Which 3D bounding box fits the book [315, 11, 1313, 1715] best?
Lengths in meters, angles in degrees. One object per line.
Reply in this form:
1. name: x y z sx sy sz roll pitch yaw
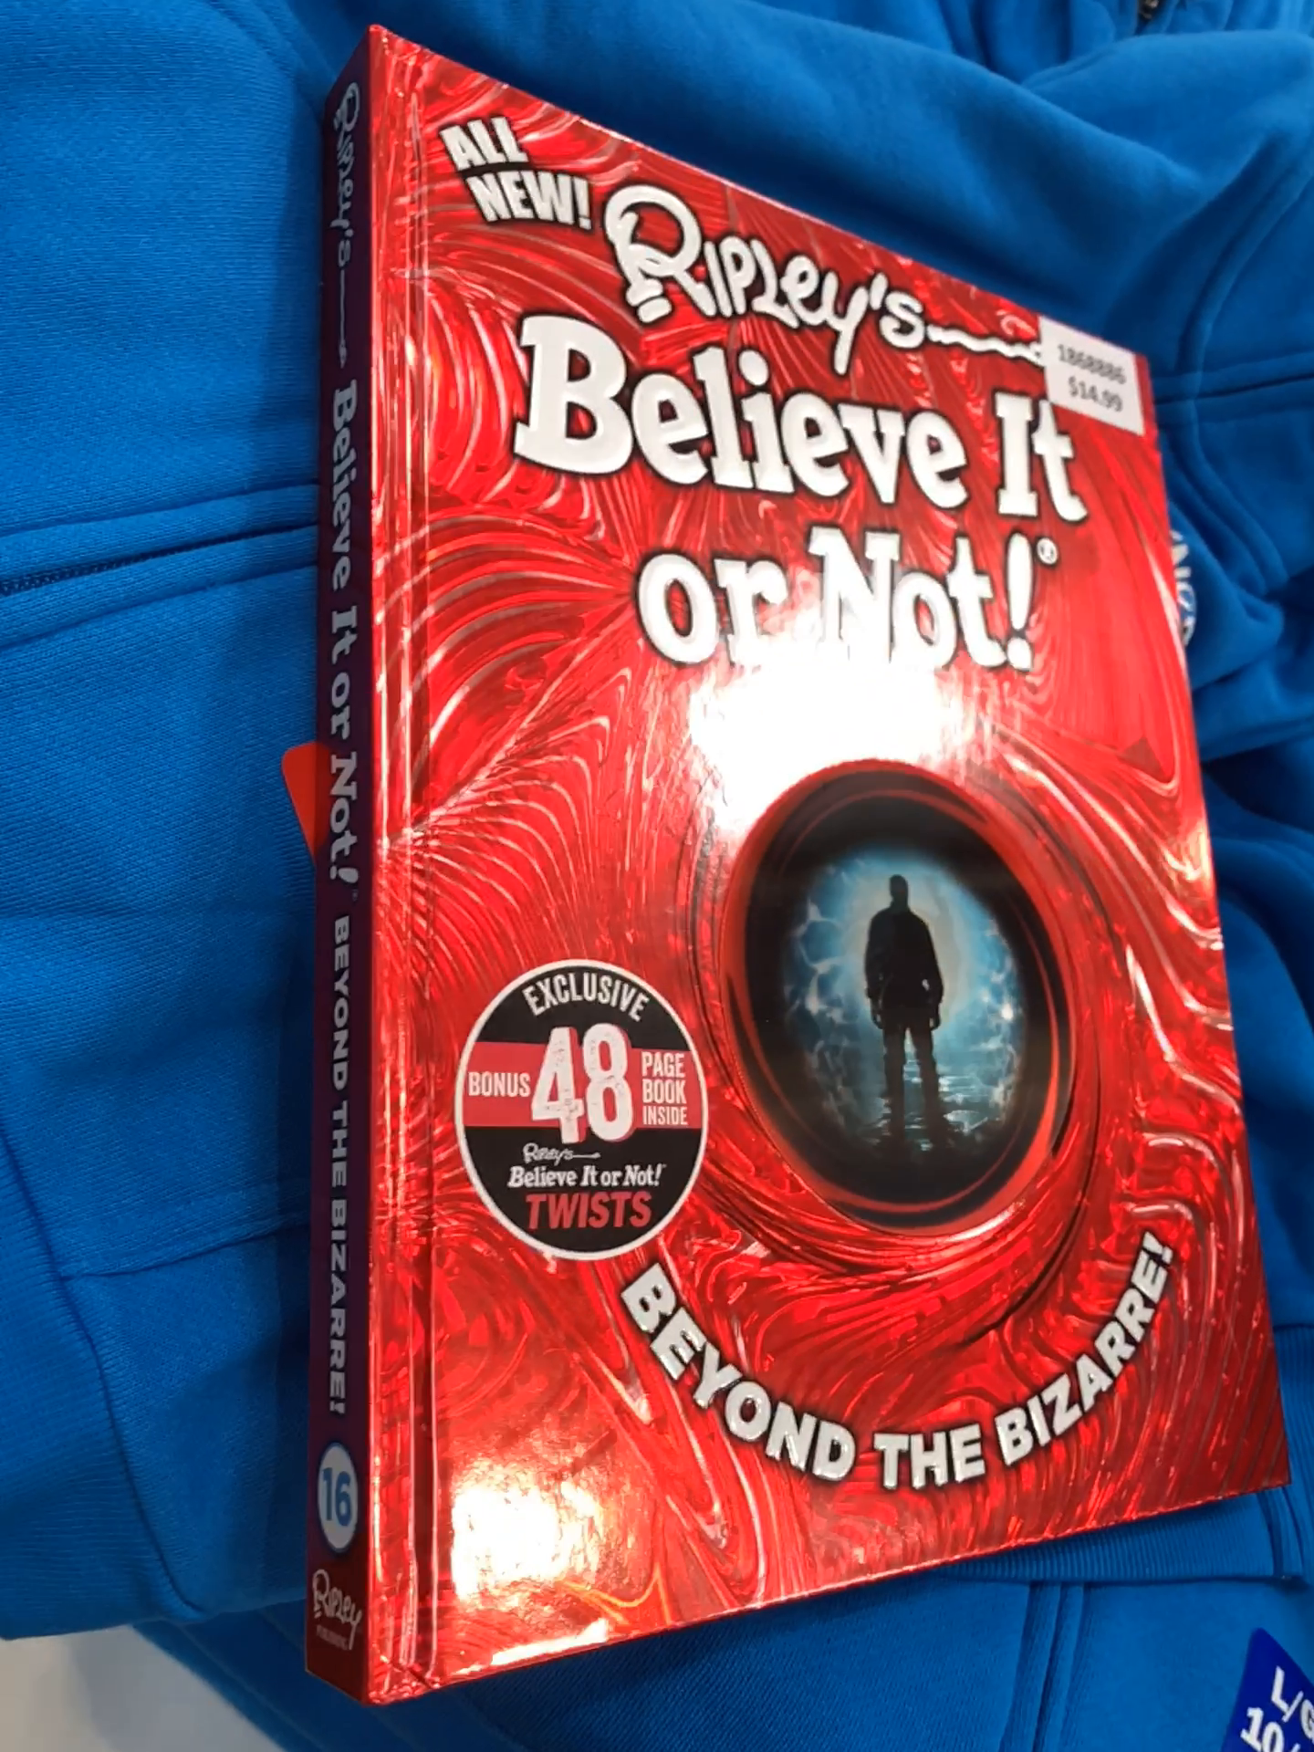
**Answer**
1. book: 0.047 -0.007 0.333 0.245 0.027 0.303 6 76 -33
